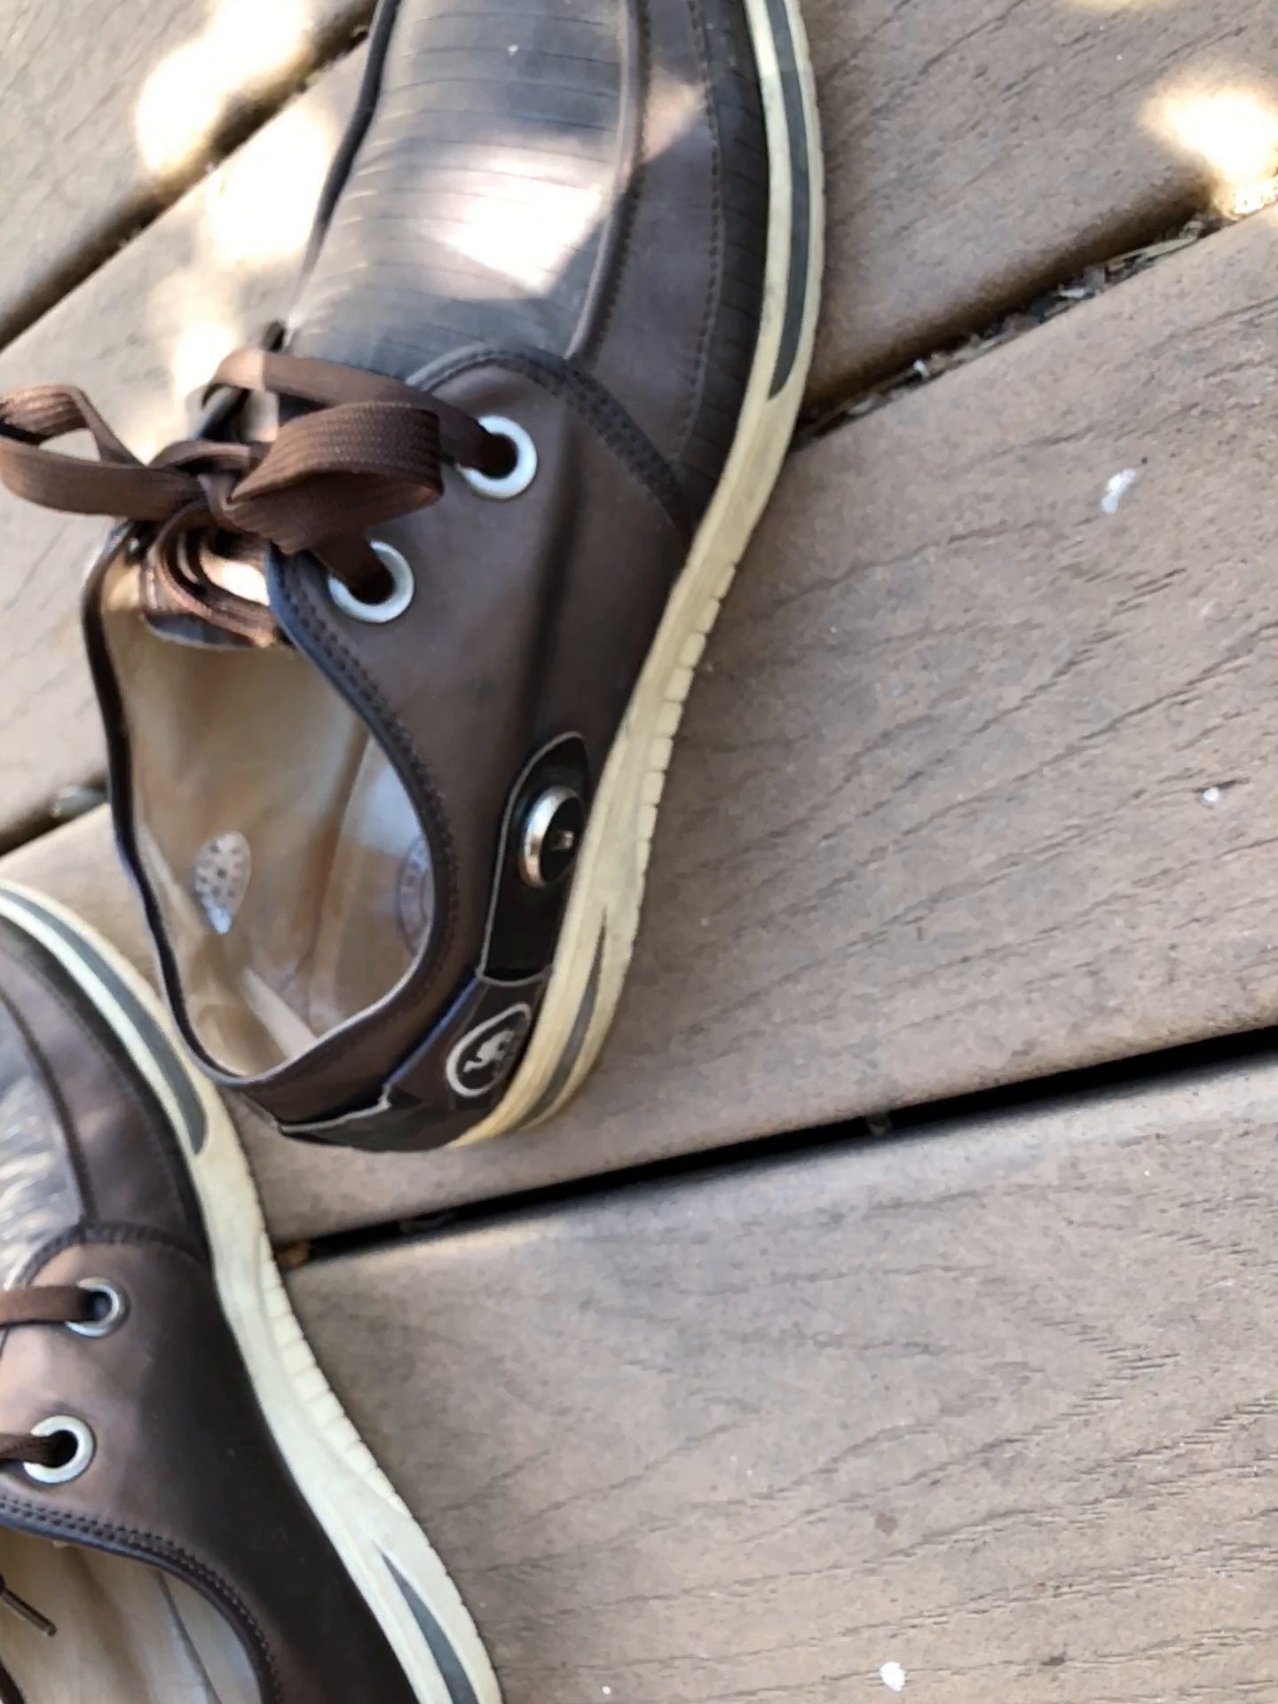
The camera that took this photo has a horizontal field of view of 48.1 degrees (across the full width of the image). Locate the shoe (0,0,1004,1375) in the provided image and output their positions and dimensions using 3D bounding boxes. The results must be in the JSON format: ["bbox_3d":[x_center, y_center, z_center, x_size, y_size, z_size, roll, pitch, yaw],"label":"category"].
[{"bbox_3d":[-0.043,-0.074,0.291,0.110,0.116,0.304,23,104,29],"label":"shoe"}]

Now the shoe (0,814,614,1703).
[{"bbox_3d":[-0.153,0.145,0.372,0.110,0.116,0.302,-42,71,27],"label":"shoe"}]
